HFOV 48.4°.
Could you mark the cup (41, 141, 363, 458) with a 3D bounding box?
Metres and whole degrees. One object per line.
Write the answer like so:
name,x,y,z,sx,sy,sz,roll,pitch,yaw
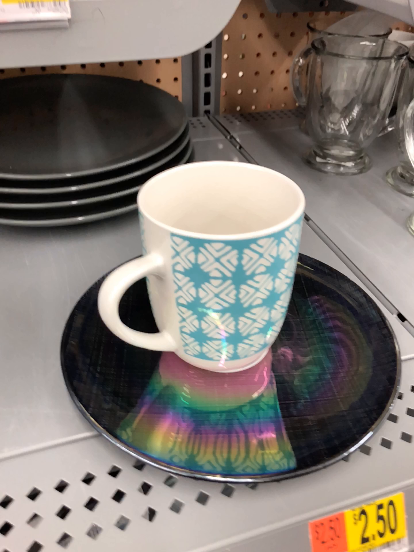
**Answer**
cup,-0.001,0.002,0.246,0.122,0.098,0.089,-26,45,-31
